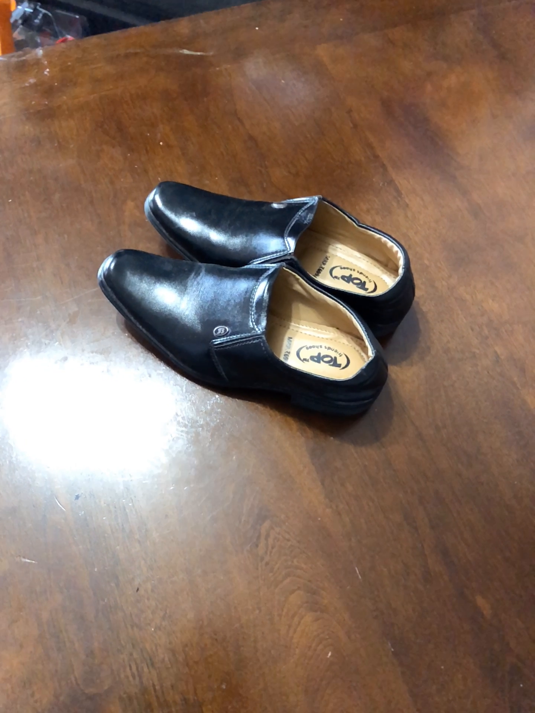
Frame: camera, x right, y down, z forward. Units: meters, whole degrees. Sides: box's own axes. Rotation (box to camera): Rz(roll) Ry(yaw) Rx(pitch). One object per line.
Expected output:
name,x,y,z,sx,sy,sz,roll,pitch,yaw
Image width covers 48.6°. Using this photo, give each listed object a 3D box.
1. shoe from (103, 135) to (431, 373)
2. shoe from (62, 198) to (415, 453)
shoe,-0.001,-0.082,0.482,0.230,0.080,0.090,21,65,6
shoe,-0.021,-0.022,0.456,0.230,0.090,0.090,21,65,6
